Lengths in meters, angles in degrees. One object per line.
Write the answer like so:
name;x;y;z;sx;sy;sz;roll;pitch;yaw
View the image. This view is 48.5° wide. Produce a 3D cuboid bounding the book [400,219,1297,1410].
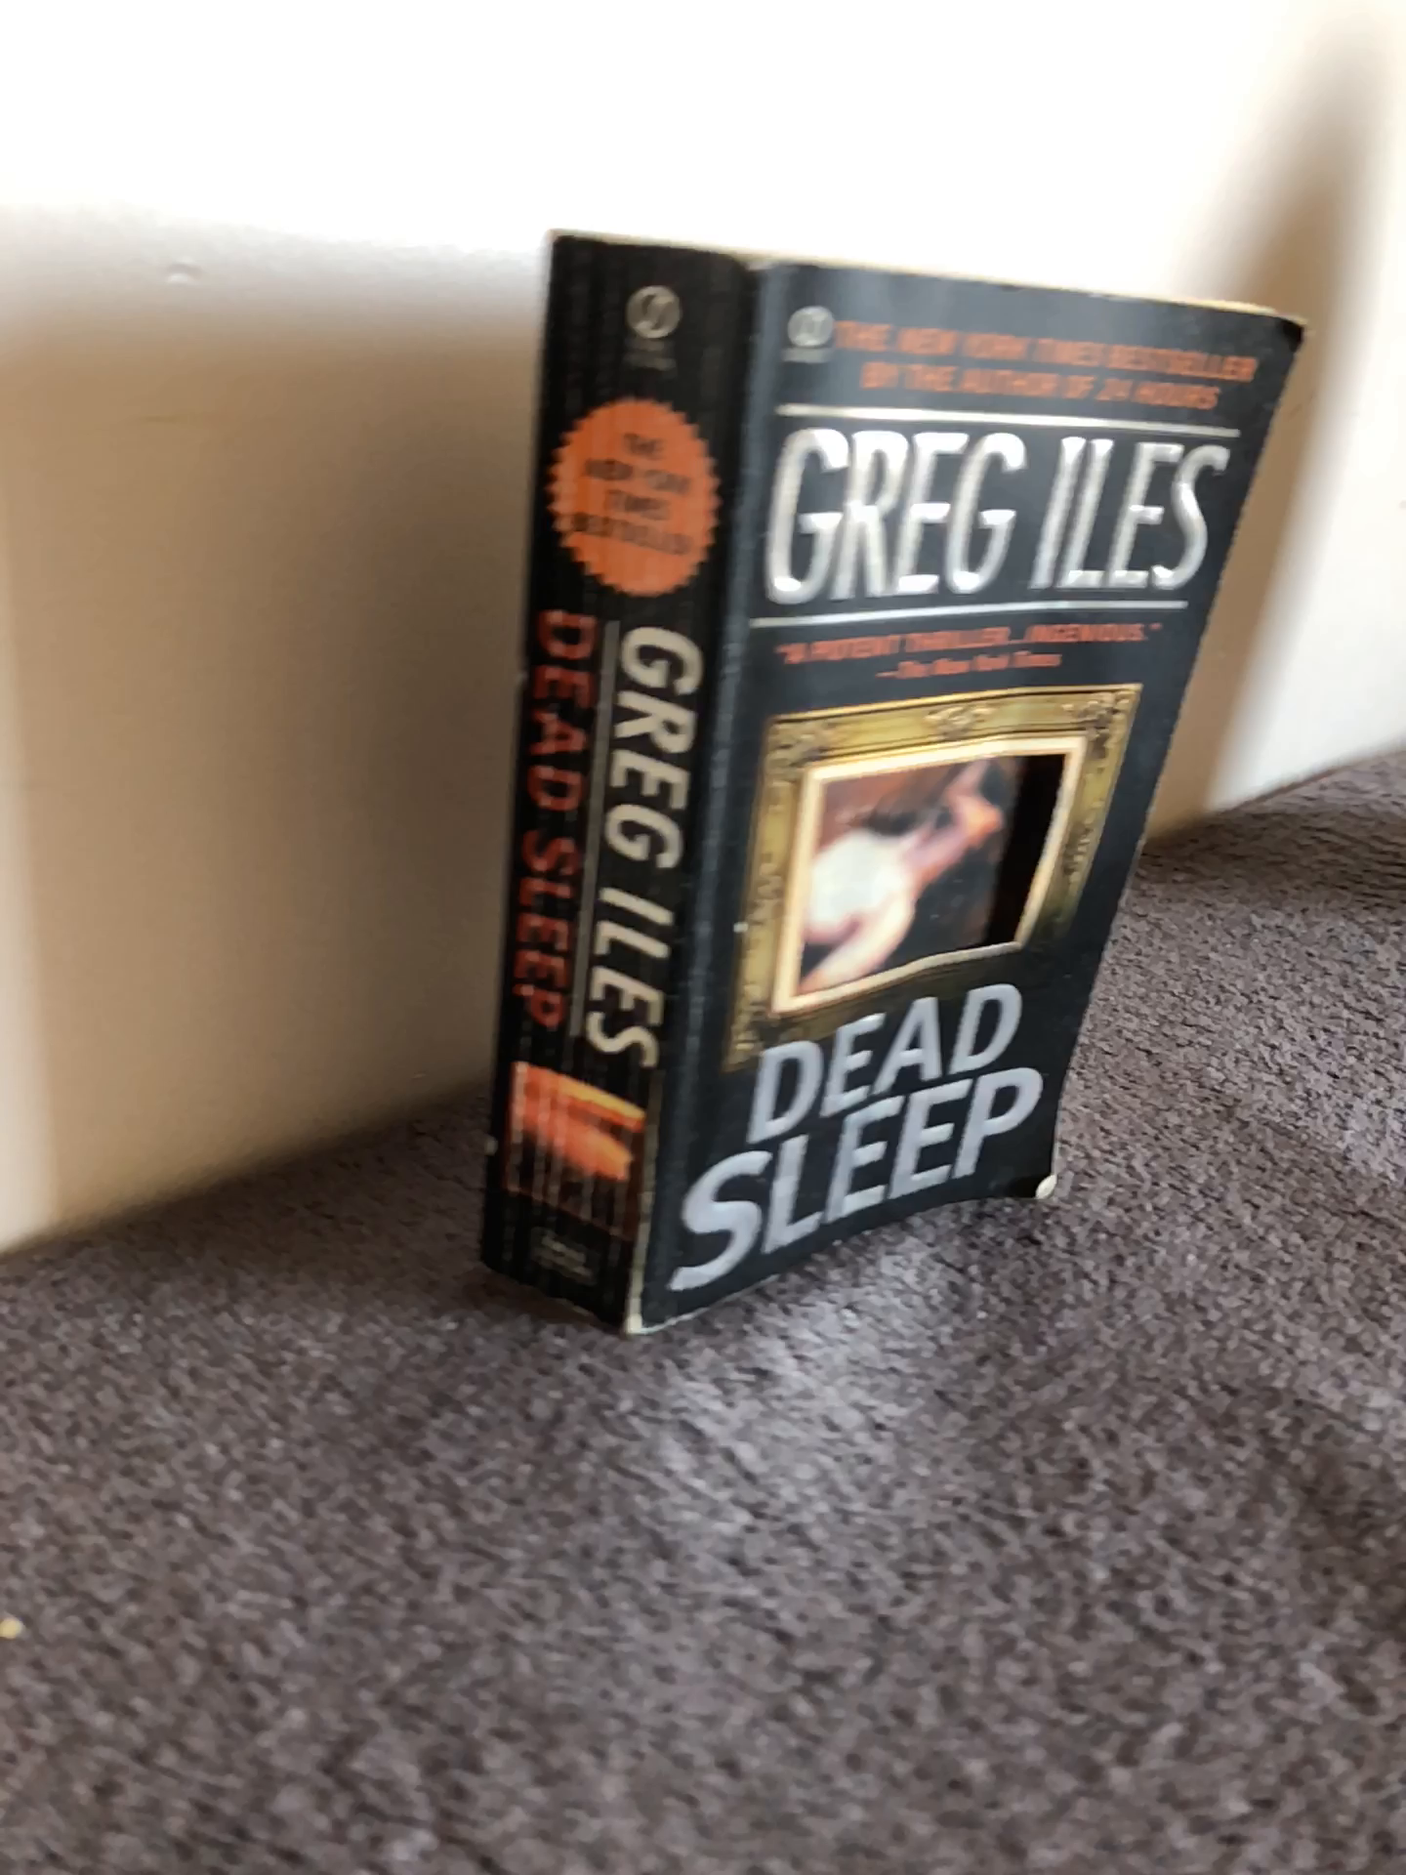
book;0.021;-0.025;0.265;0.123;0.163;0.061;-15;33;-40
